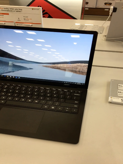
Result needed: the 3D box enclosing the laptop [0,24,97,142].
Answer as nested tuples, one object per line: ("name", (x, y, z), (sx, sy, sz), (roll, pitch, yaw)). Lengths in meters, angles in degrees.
("laptop", (-0.098, -0.018, 0.452), (0.342, 0.186, 0.278), (7, 41, 8))
